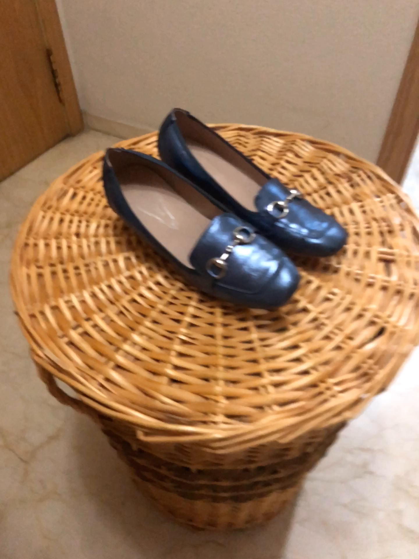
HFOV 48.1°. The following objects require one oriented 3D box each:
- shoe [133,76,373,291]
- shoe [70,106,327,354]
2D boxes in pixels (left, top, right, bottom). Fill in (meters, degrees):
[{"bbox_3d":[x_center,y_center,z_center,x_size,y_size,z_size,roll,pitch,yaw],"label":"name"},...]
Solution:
[{"bbox_3d":[0.040,-0.114,0.546,0.260,0.090,0.090,37,64,14],"label":"shoe"},{"bbox_3d":[-0.018,-0.055,0.496,0.250,0.090,0.100,42,66,13],"label":"shoe"}]
